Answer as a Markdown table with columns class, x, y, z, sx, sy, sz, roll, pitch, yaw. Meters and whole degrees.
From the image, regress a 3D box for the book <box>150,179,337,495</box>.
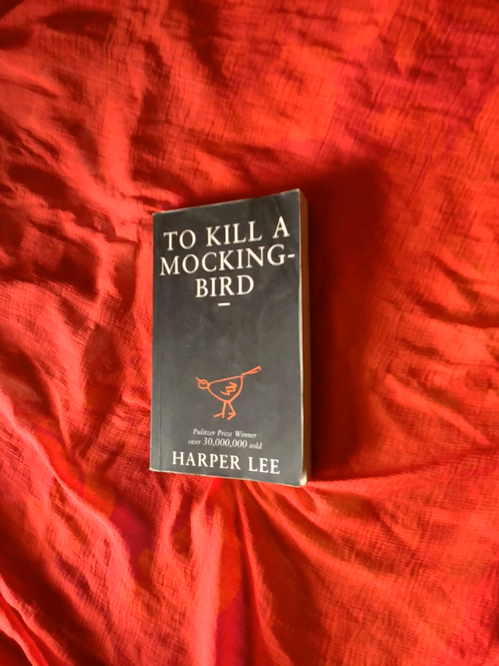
| class | x | y | z | sx | sy | sz | roll | pitch | yaw |
| --- | --- | --- | --- | --- | --- | --- | --- | --- | --- |
| book | -0.005 | 0.004 | 0.328 | 0.110 | 0.040 | 0.180 | -2 | 87 | 22 |
